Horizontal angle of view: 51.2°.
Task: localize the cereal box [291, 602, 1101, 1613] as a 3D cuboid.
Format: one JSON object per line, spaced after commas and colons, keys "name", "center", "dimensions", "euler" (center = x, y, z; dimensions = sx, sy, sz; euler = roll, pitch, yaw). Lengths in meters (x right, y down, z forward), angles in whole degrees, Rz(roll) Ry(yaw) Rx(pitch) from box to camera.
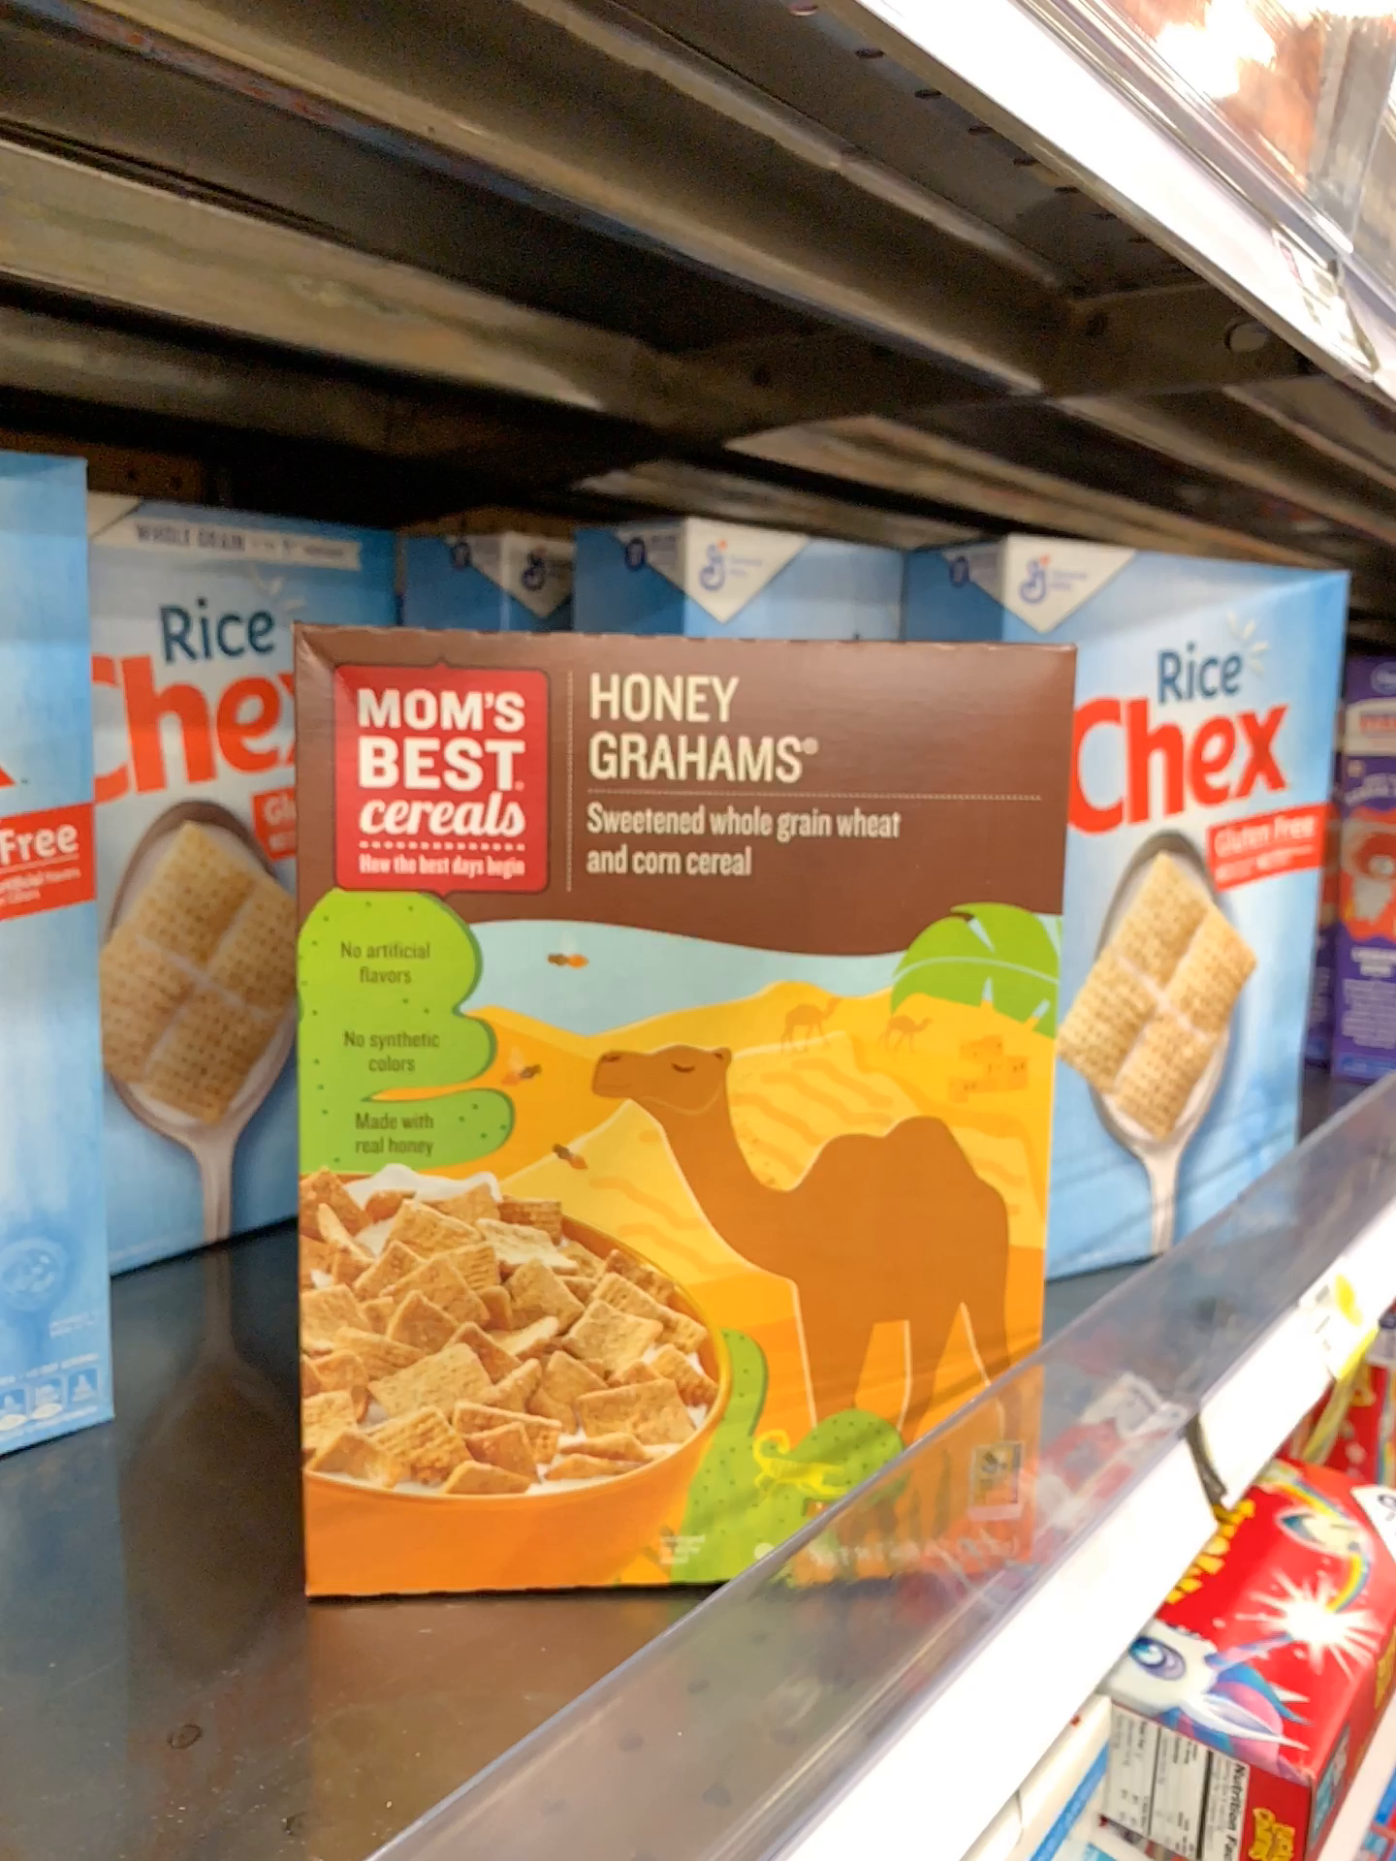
{"name": "cereal box", "center": [-0.002, 0.047, 0.399], "dimensions": [0.200, 0.260, 0.050], "euler": [0, 7, -5]}
